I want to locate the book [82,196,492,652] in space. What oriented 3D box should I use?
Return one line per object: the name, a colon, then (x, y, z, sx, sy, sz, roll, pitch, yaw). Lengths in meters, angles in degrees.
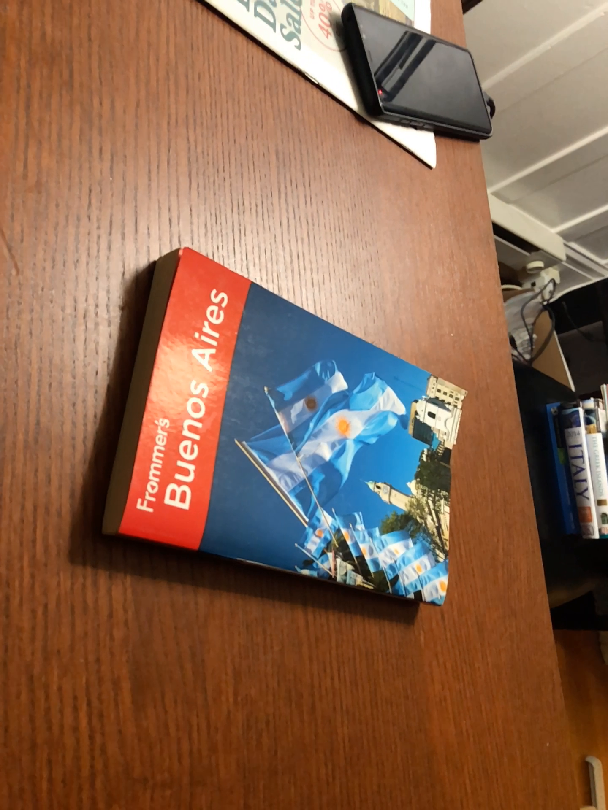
book: (0.018, 0.023, 0.325, 0.221, 0.020, 0.160, 24, 62, -36)
